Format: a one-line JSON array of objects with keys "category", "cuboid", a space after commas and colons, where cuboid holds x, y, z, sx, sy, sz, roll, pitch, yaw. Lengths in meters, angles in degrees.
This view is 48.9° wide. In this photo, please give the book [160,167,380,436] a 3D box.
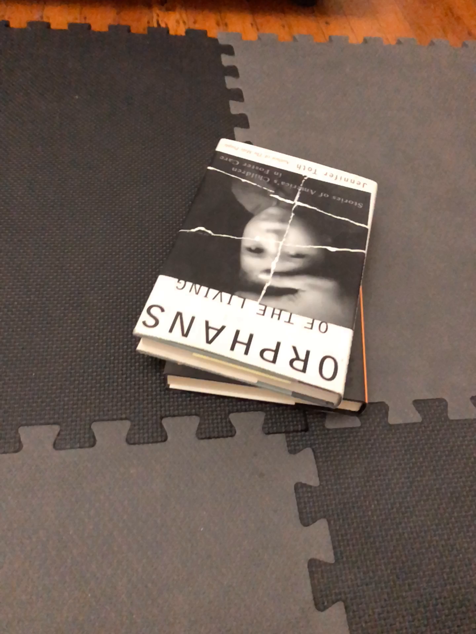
[{"category": "book", "cuboid": [0.031, -0.028, 0.461, 0.160, 0.030, 0.251, 7, 55, -2]}]

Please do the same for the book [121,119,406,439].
[{"category": "book", "cuboid": [0.040, -0.055, 0.445, 0.180, 0.030, 0.281, 15, 55, 4]}]
